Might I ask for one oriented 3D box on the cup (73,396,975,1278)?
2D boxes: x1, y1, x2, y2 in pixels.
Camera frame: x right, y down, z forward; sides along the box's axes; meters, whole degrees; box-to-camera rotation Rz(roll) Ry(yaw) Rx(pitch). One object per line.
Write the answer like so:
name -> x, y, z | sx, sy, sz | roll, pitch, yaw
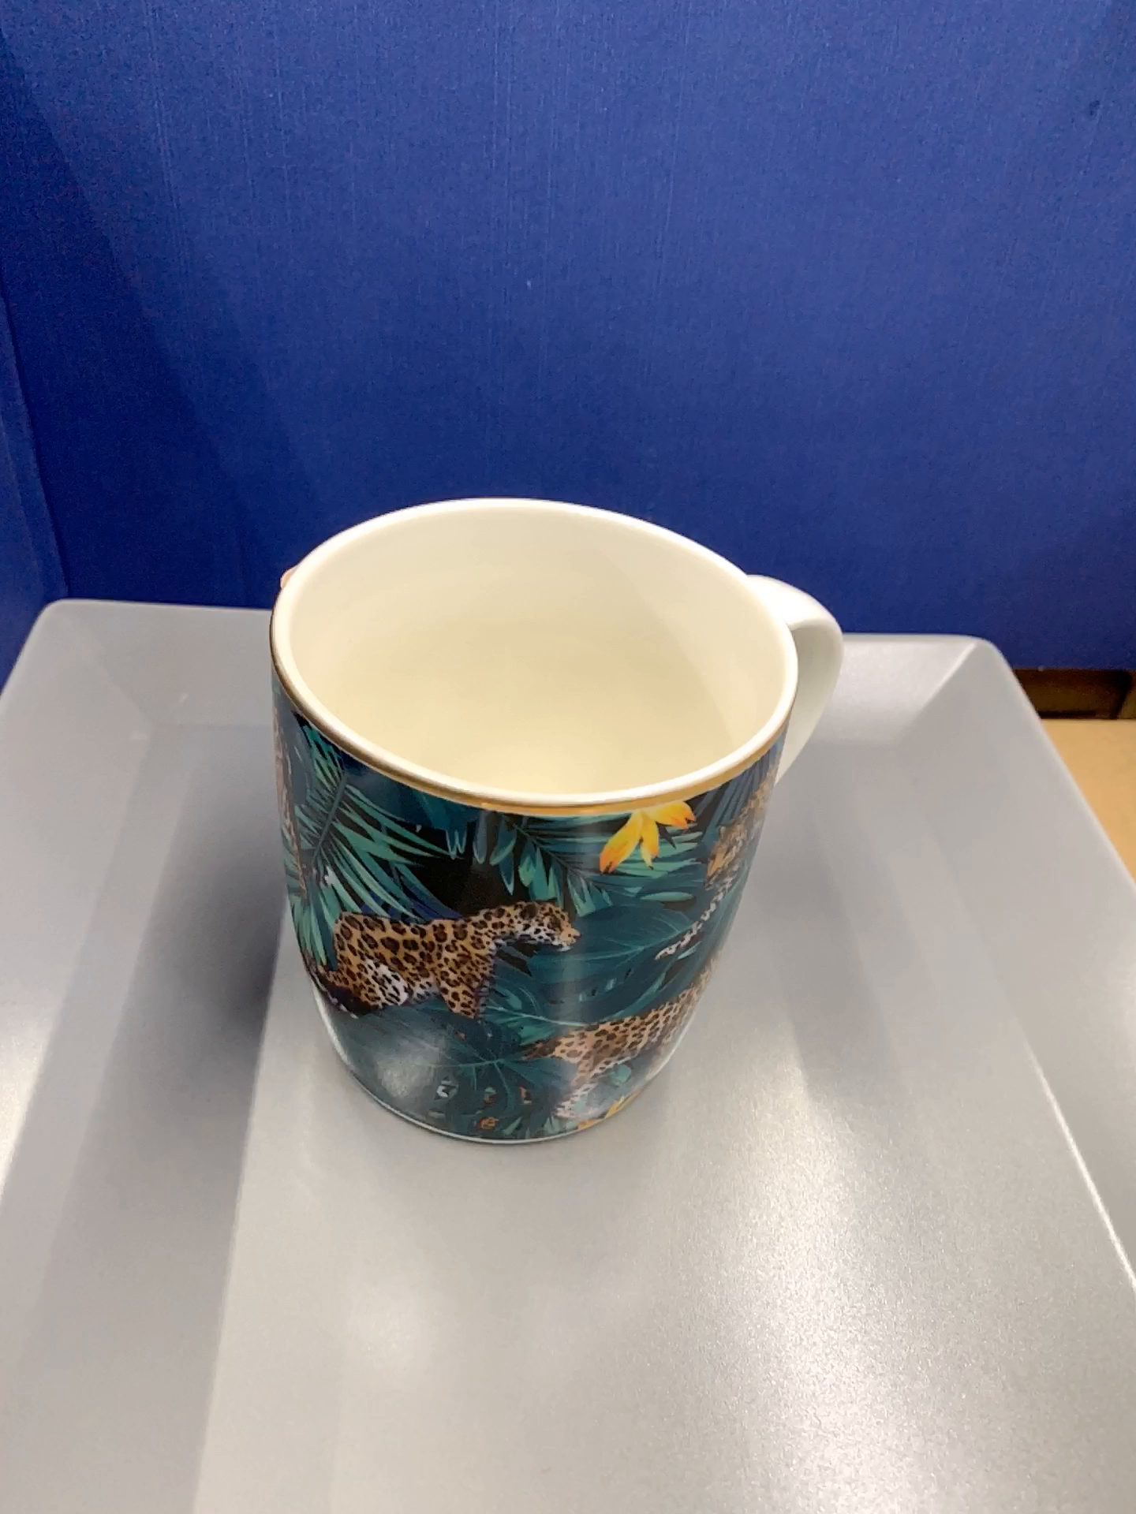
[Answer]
cup -> -0.004, 0.002, 0.229 | 0.093, 0.091, 0.126 | 31, 44, 31
